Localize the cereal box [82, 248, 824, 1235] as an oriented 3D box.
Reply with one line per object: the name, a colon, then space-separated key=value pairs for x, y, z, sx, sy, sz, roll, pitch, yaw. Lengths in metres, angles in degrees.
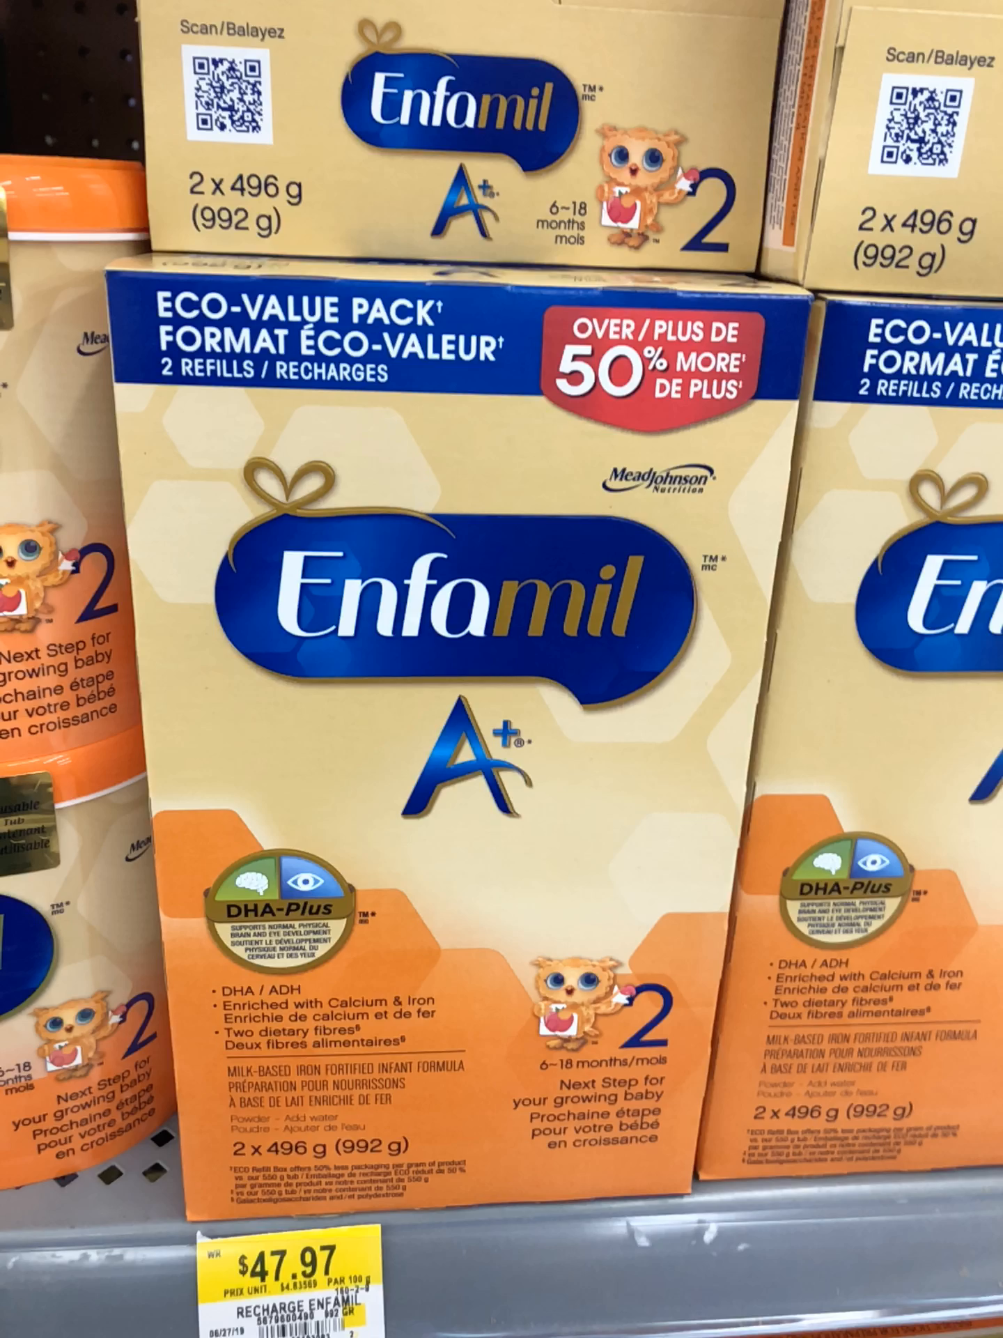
cereal box: x=-0.018 y=0.023 z=0.292 sx=0.140 sy=0.238 sz=0.081 roll=0 pitch=23 yaw=-8
